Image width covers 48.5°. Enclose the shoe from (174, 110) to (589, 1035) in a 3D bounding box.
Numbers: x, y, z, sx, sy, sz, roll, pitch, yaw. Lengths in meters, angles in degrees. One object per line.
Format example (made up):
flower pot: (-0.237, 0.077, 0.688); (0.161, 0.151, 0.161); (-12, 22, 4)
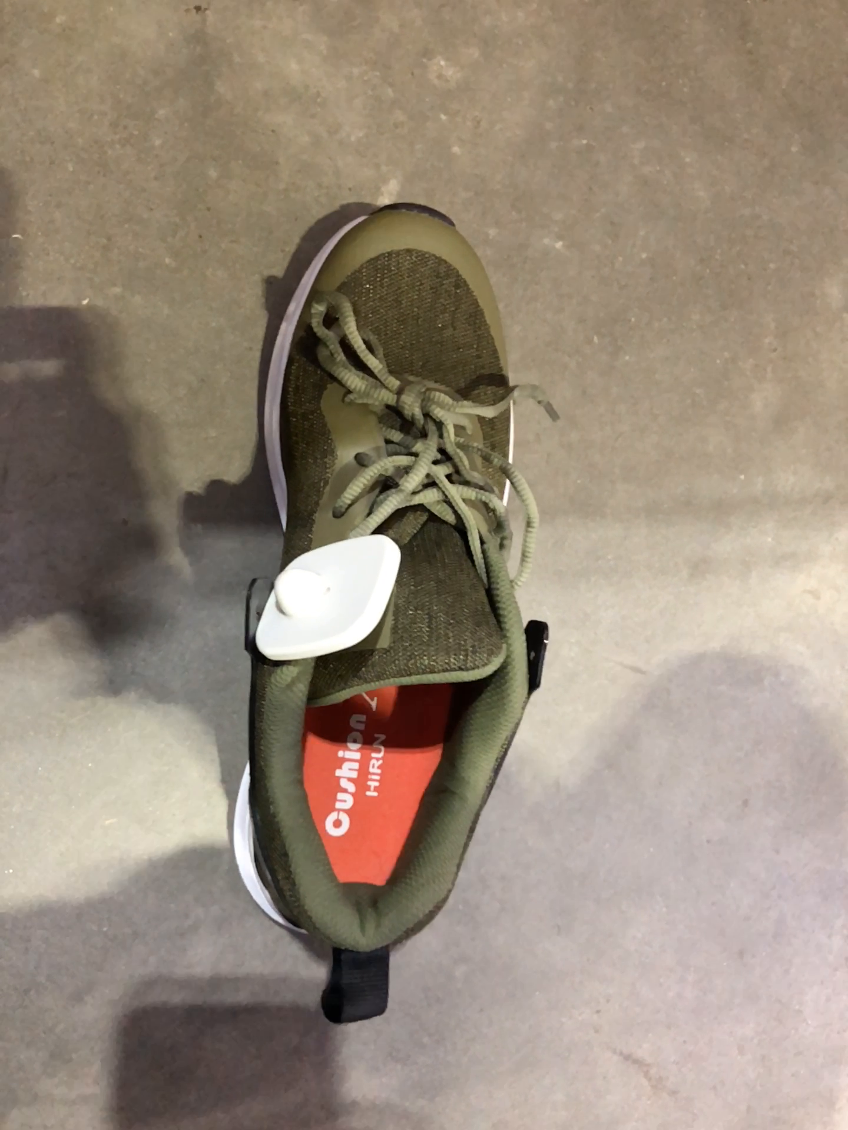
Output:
shoe: (-0.020, 0.004, 0.360); (0.120, 0.100, 0.290); (5, 85, -18)
